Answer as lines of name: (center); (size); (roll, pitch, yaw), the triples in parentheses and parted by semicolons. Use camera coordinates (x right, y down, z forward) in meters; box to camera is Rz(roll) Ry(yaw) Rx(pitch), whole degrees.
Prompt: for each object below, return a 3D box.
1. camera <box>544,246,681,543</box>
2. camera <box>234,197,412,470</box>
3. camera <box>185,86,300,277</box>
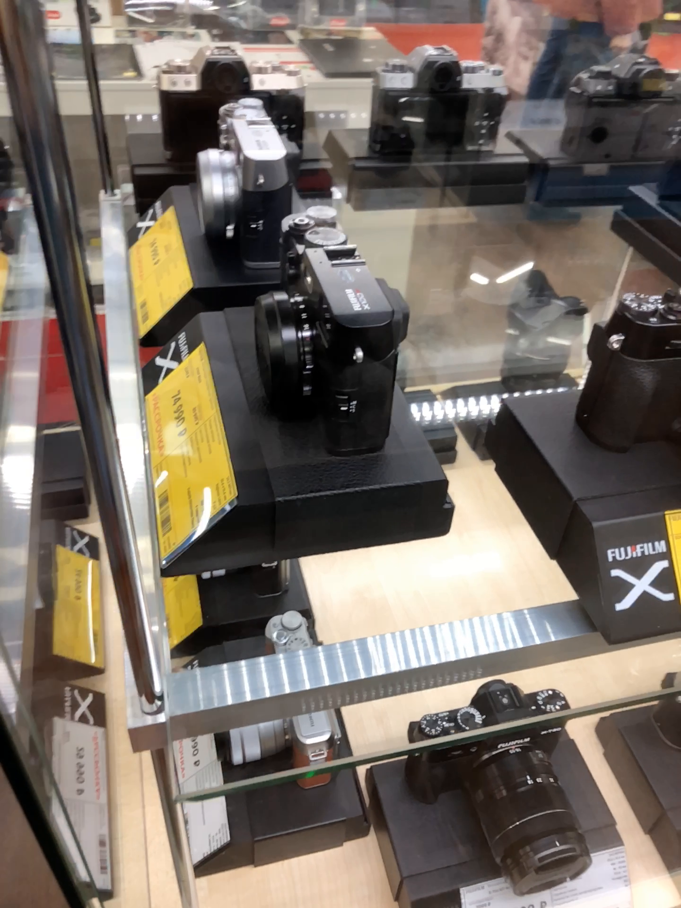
camera: (0.187, -0.033, 0.350); (0.131, 0.080, 0.104); (-7, 41, -14)
camera: (-0.016, -0.066, 0.378); (0.054, 0.075, 0.131); (-7, 41, -14)
camera: (-0.070, -0.190, 0.513); (0.054, 0.080, 0.131); (-7, 41, -14)
